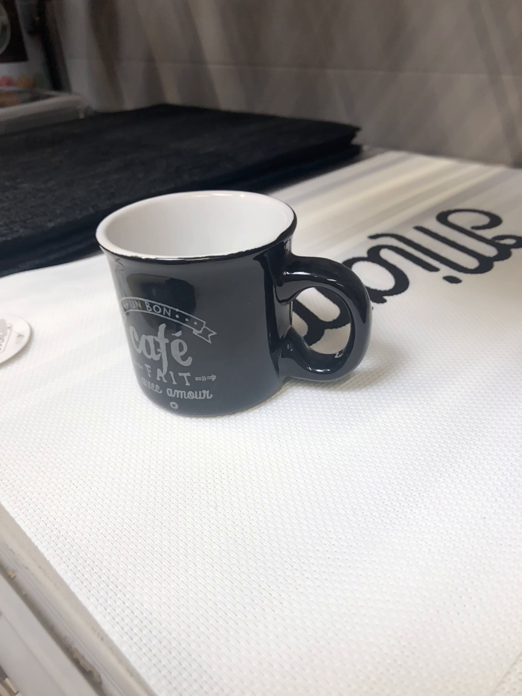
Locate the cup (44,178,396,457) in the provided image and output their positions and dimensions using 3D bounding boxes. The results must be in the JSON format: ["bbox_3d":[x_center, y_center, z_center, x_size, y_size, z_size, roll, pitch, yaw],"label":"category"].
[{"bbox_3d":[-0.009,-0.019,0.220,0.100,0.064,0.075,10,35,22],"label":"cup"}]
